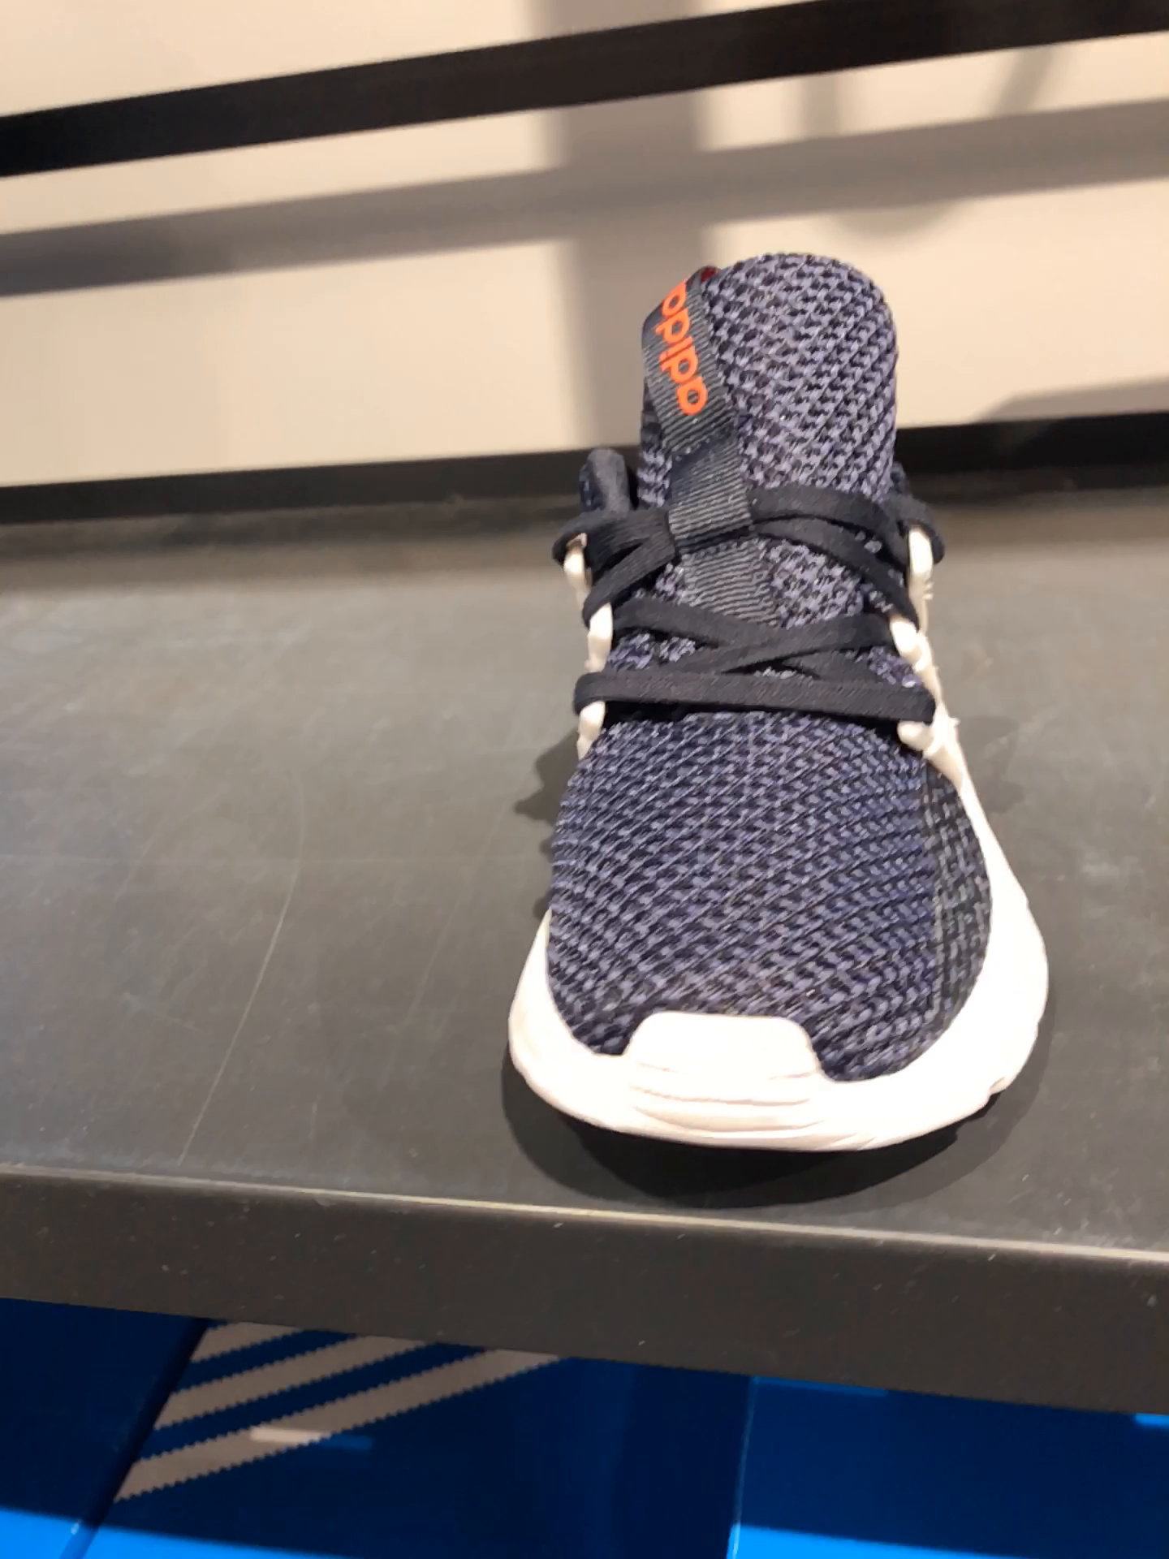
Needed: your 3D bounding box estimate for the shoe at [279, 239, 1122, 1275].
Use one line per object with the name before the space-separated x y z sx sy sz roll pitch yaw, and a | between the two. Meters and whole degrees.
shoe | 0.036 -0.028 0.250 0.090 0.110 0.201 0 28 14
